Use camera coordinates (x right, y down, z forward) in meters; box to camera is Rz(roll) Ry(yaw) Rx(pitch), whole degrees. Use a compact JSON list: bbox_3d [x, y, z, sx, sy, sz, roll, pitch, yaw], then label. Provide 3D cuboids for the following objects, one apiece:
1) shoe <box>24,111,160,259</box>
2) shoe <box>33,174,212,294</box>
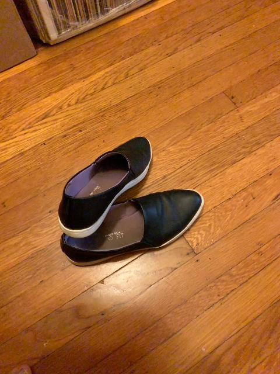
[{"bbox_3d":[-0.064,-0.020,0.483,0.100,0.080,0.250,23,47,10],"label":"shoe"},{"bbox_3d":[-0.028,0.079,0.481,0.260,0.080,0.100,-19,68,-7],"label":"shoe"}]
